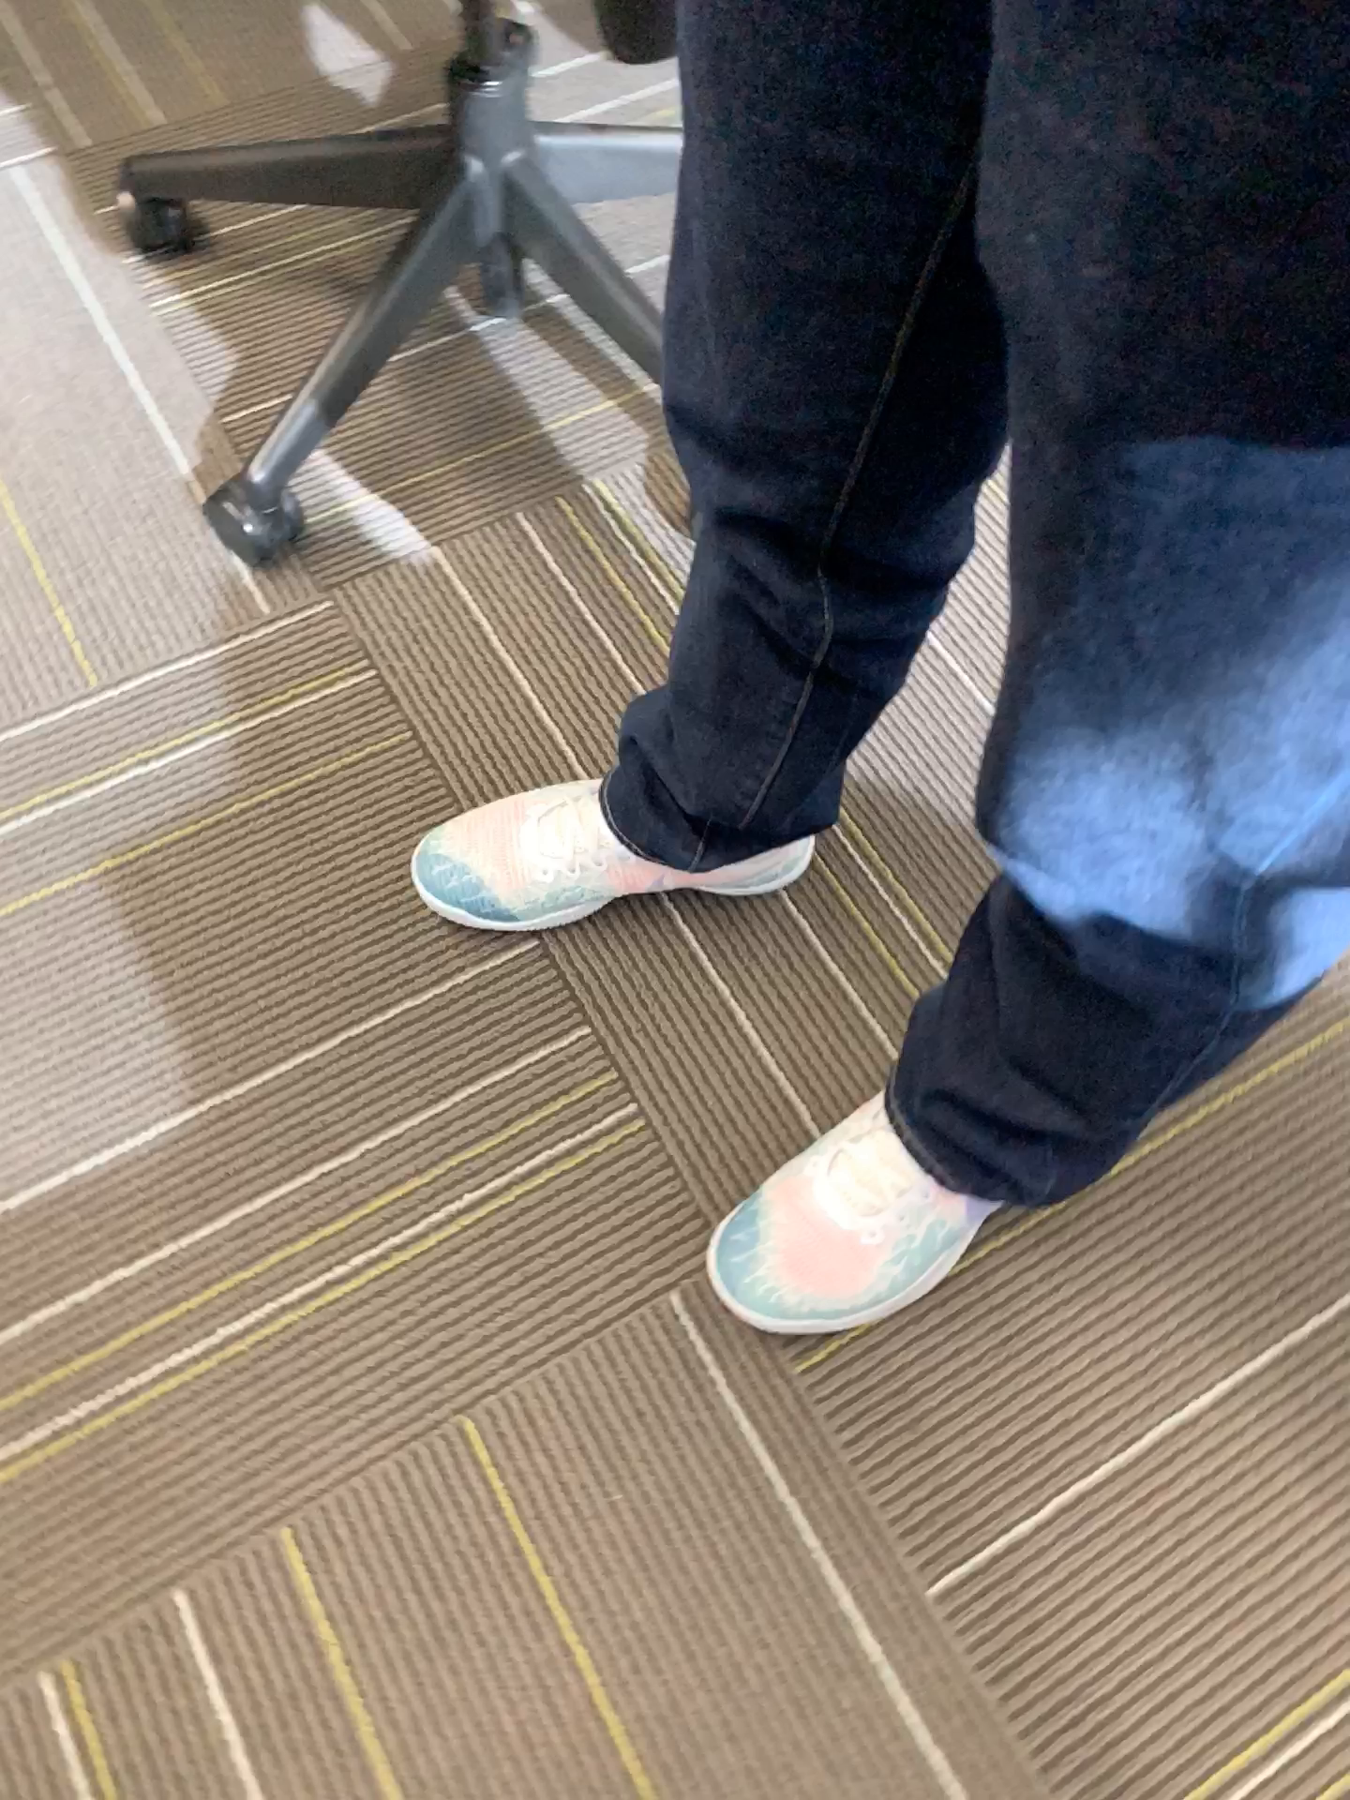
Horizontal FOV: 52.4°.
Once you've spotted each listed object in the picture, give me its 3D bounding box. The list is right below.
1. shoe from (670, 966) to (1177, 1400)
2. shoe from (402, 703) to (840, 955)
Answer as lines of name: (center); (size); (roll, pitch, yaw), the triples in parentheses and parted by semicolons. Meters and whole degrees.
shoe: (0.152, 0.173, 0.863); (0.289, 0.078, 0.123); (-28, 65, -15)
shoe: (-0.040, -0.050, 0.962); (0.282, 0.088, 0.118); (-7, 63, -4)
